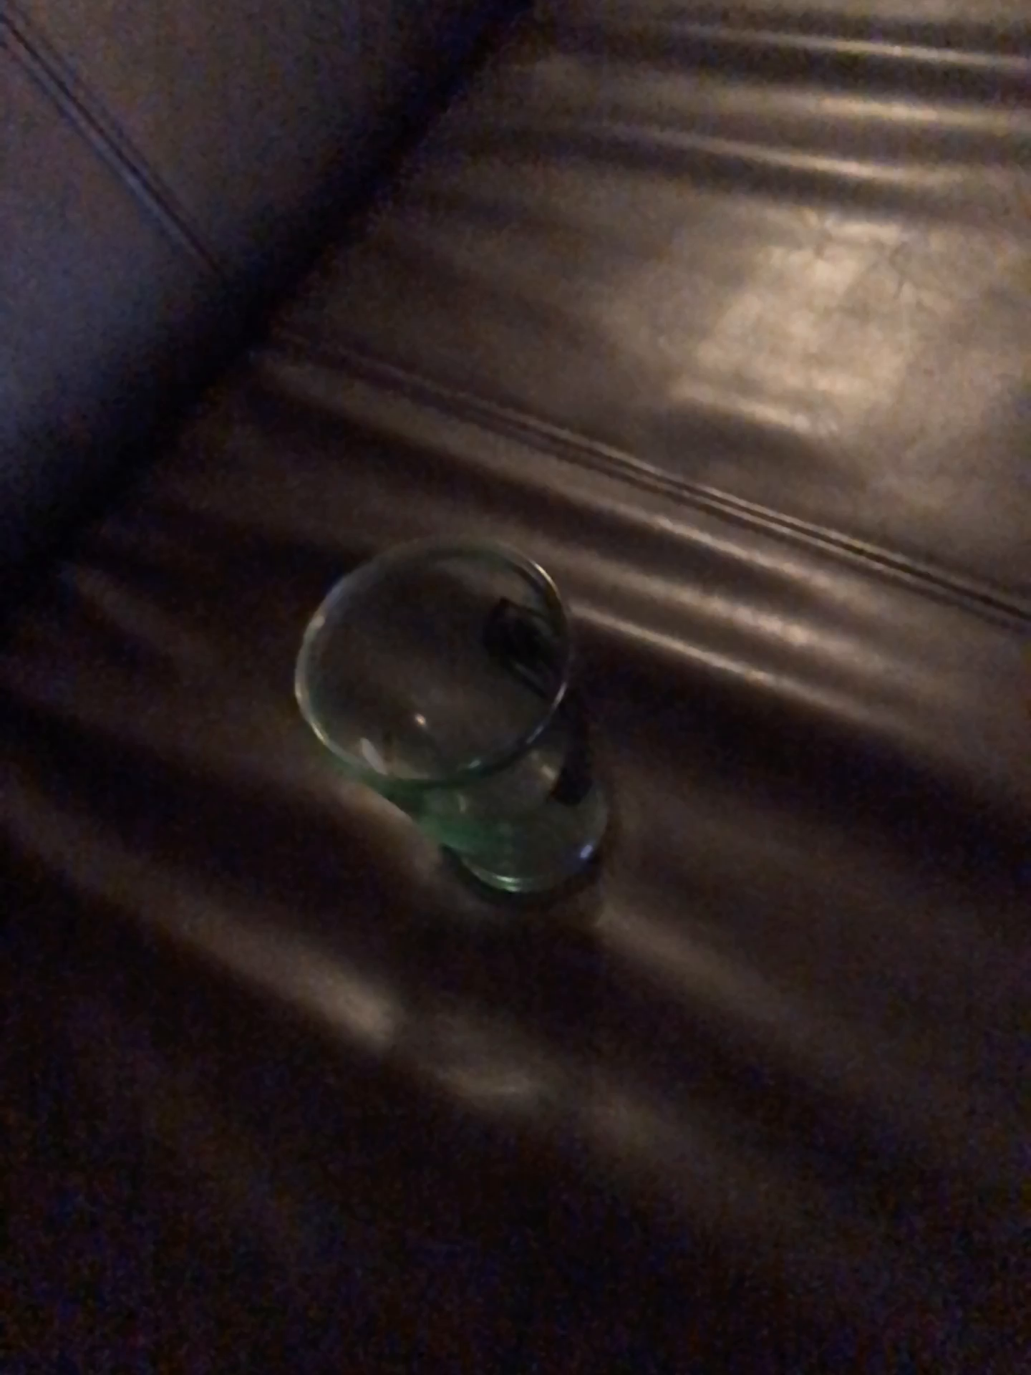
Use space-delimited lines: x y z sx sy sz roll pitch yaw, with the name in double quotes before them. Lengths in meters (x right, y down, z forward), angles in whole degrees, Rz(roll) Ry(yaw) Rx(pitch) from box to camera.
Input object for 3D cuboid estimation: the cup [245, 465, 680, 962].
"cup" -0.011 0.015 0.352 0.087 0.117 0.085 -5 62 10
